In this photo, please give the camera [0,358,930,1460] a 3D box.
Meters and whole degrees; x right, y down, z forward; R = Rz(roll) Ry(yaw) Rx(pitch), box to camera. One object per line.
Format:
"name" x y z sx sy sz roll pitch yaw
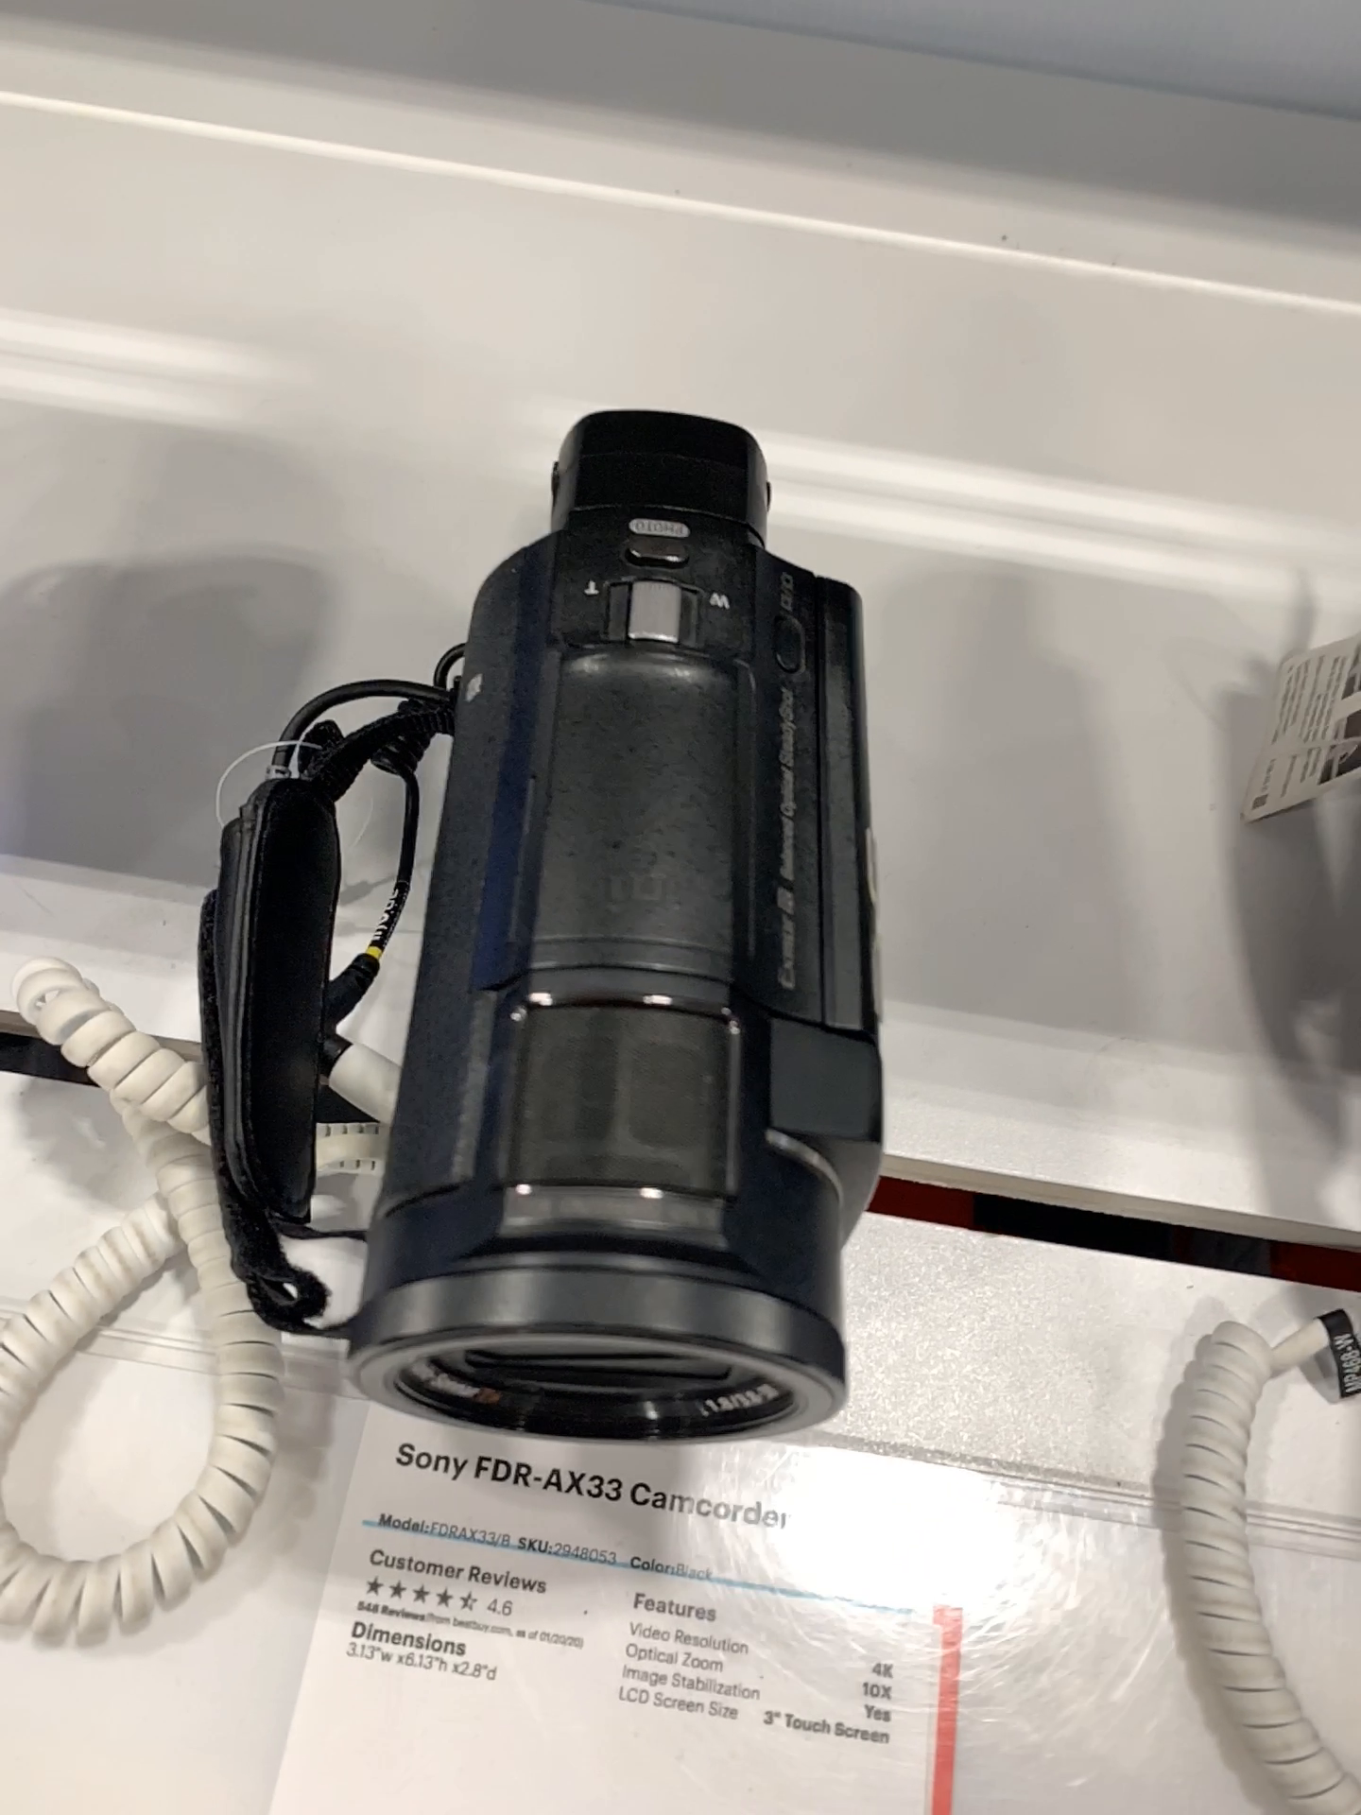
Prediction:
"camera" -0.024 -0.001 0.205 0.102 0.067 0.136 6 59 -3
